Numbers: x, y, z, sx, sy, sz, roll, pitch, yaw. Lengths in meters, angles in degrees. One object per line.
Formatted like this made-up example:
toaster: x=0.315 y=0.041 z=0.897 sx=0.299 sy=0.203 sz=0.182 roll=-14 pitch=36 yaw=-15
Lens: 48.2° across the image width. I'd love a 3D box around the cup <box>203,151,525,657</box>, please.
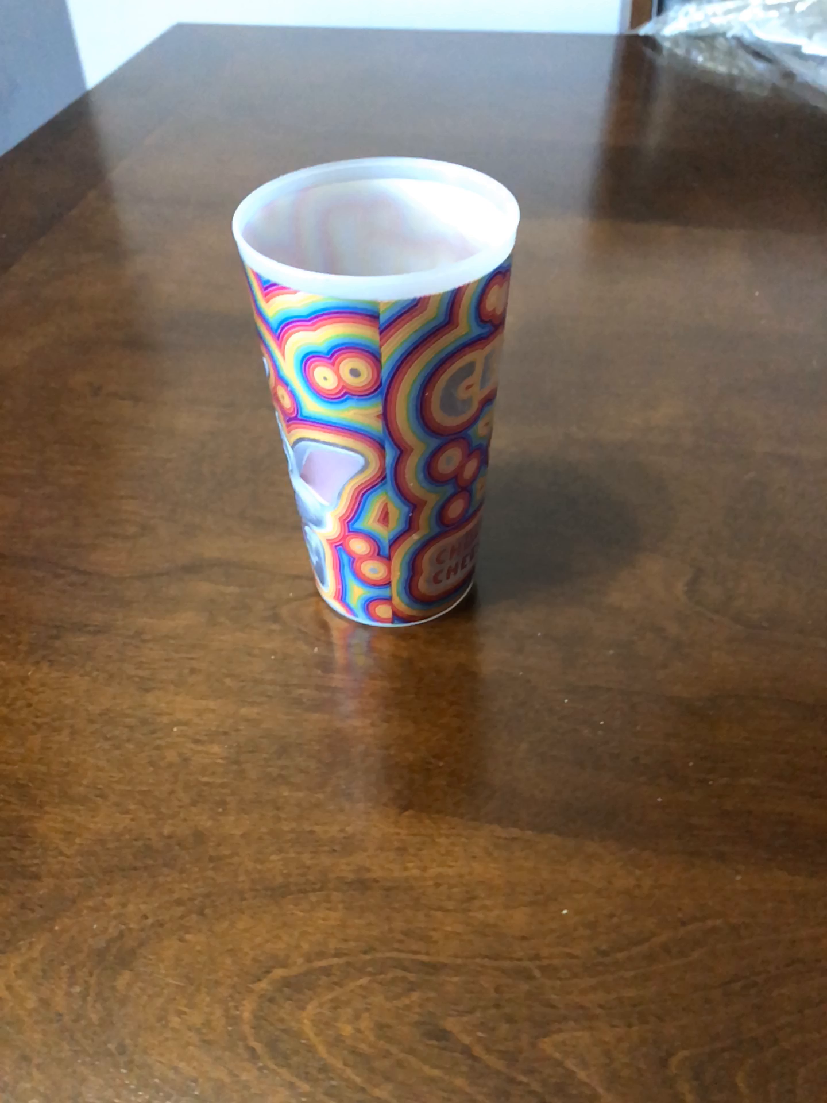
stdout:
cup: x=-0.007 y=-0.040 z=0.279 sx=0.070 sy=0.129 sz=0.070 roll=-1 pitch=43 yaw=1
